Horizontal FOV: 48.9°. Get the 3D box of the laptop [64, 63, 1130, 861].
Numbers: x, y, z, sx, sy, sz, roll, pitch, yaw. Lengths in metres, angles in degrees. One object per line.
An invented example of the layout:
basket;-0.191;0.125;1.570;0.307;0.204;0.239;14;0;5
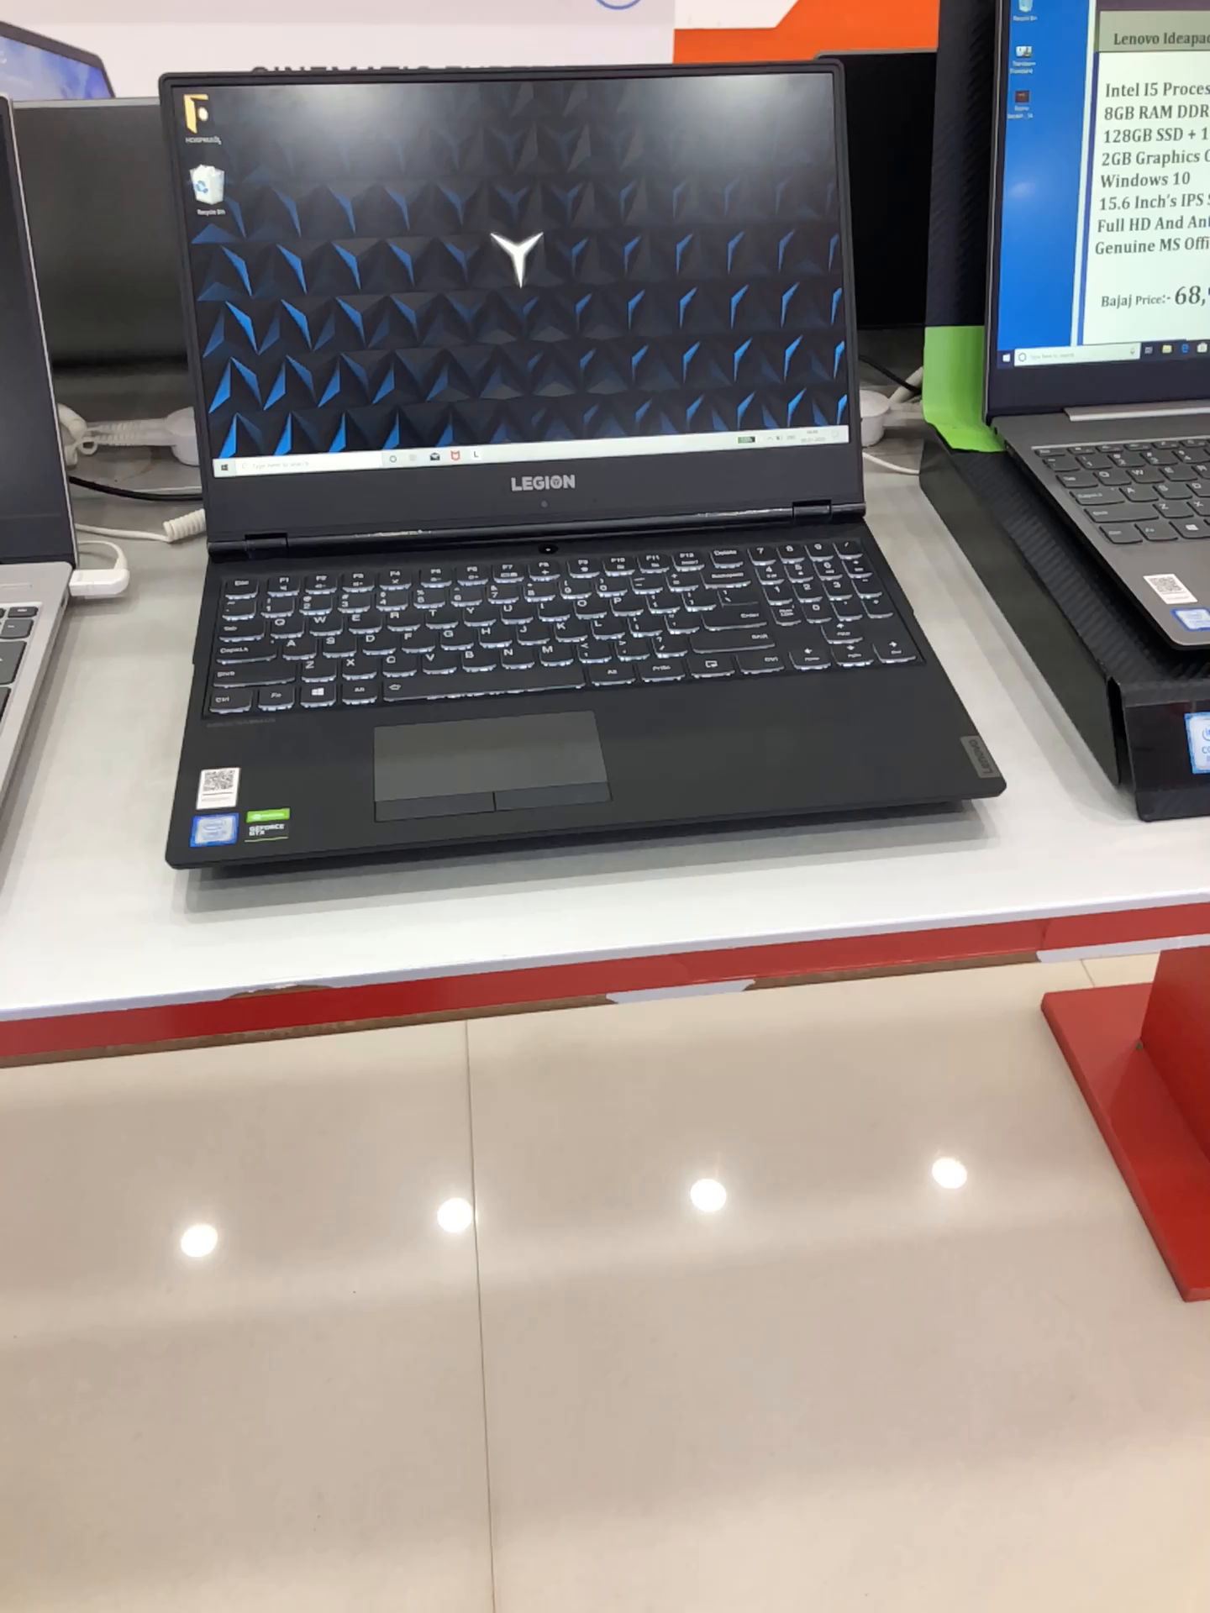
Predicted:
laptop;-0.020;-0.182;0.602;0.334;0.191;0.349;-5;42;-7
